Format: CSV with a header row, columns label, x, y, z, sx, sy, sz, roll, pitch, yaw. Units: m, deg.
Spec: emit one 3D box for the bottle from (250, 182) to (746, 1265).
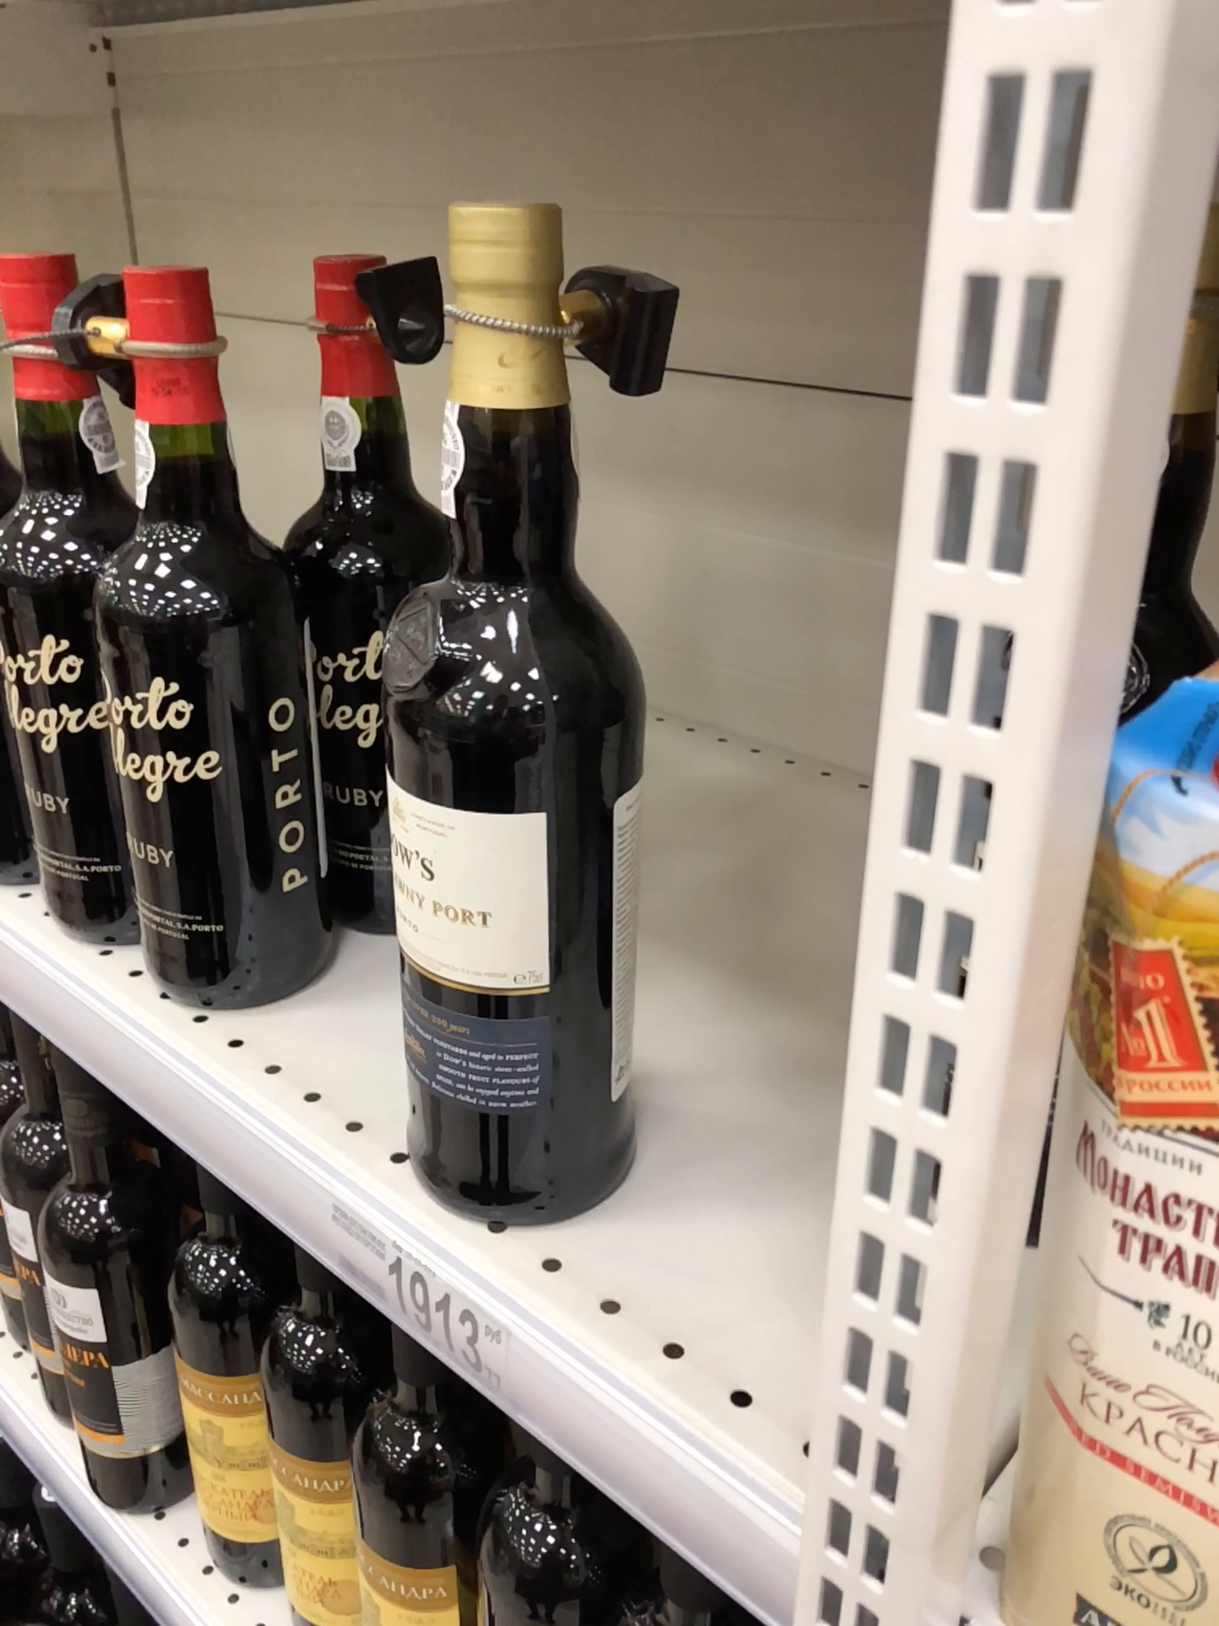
label,x,y,z,sx,sy,sz,roll,pitch,yaw
bottle,-0.031,-0.025,0.403,0.090,0.296,0.090,1,24,0
